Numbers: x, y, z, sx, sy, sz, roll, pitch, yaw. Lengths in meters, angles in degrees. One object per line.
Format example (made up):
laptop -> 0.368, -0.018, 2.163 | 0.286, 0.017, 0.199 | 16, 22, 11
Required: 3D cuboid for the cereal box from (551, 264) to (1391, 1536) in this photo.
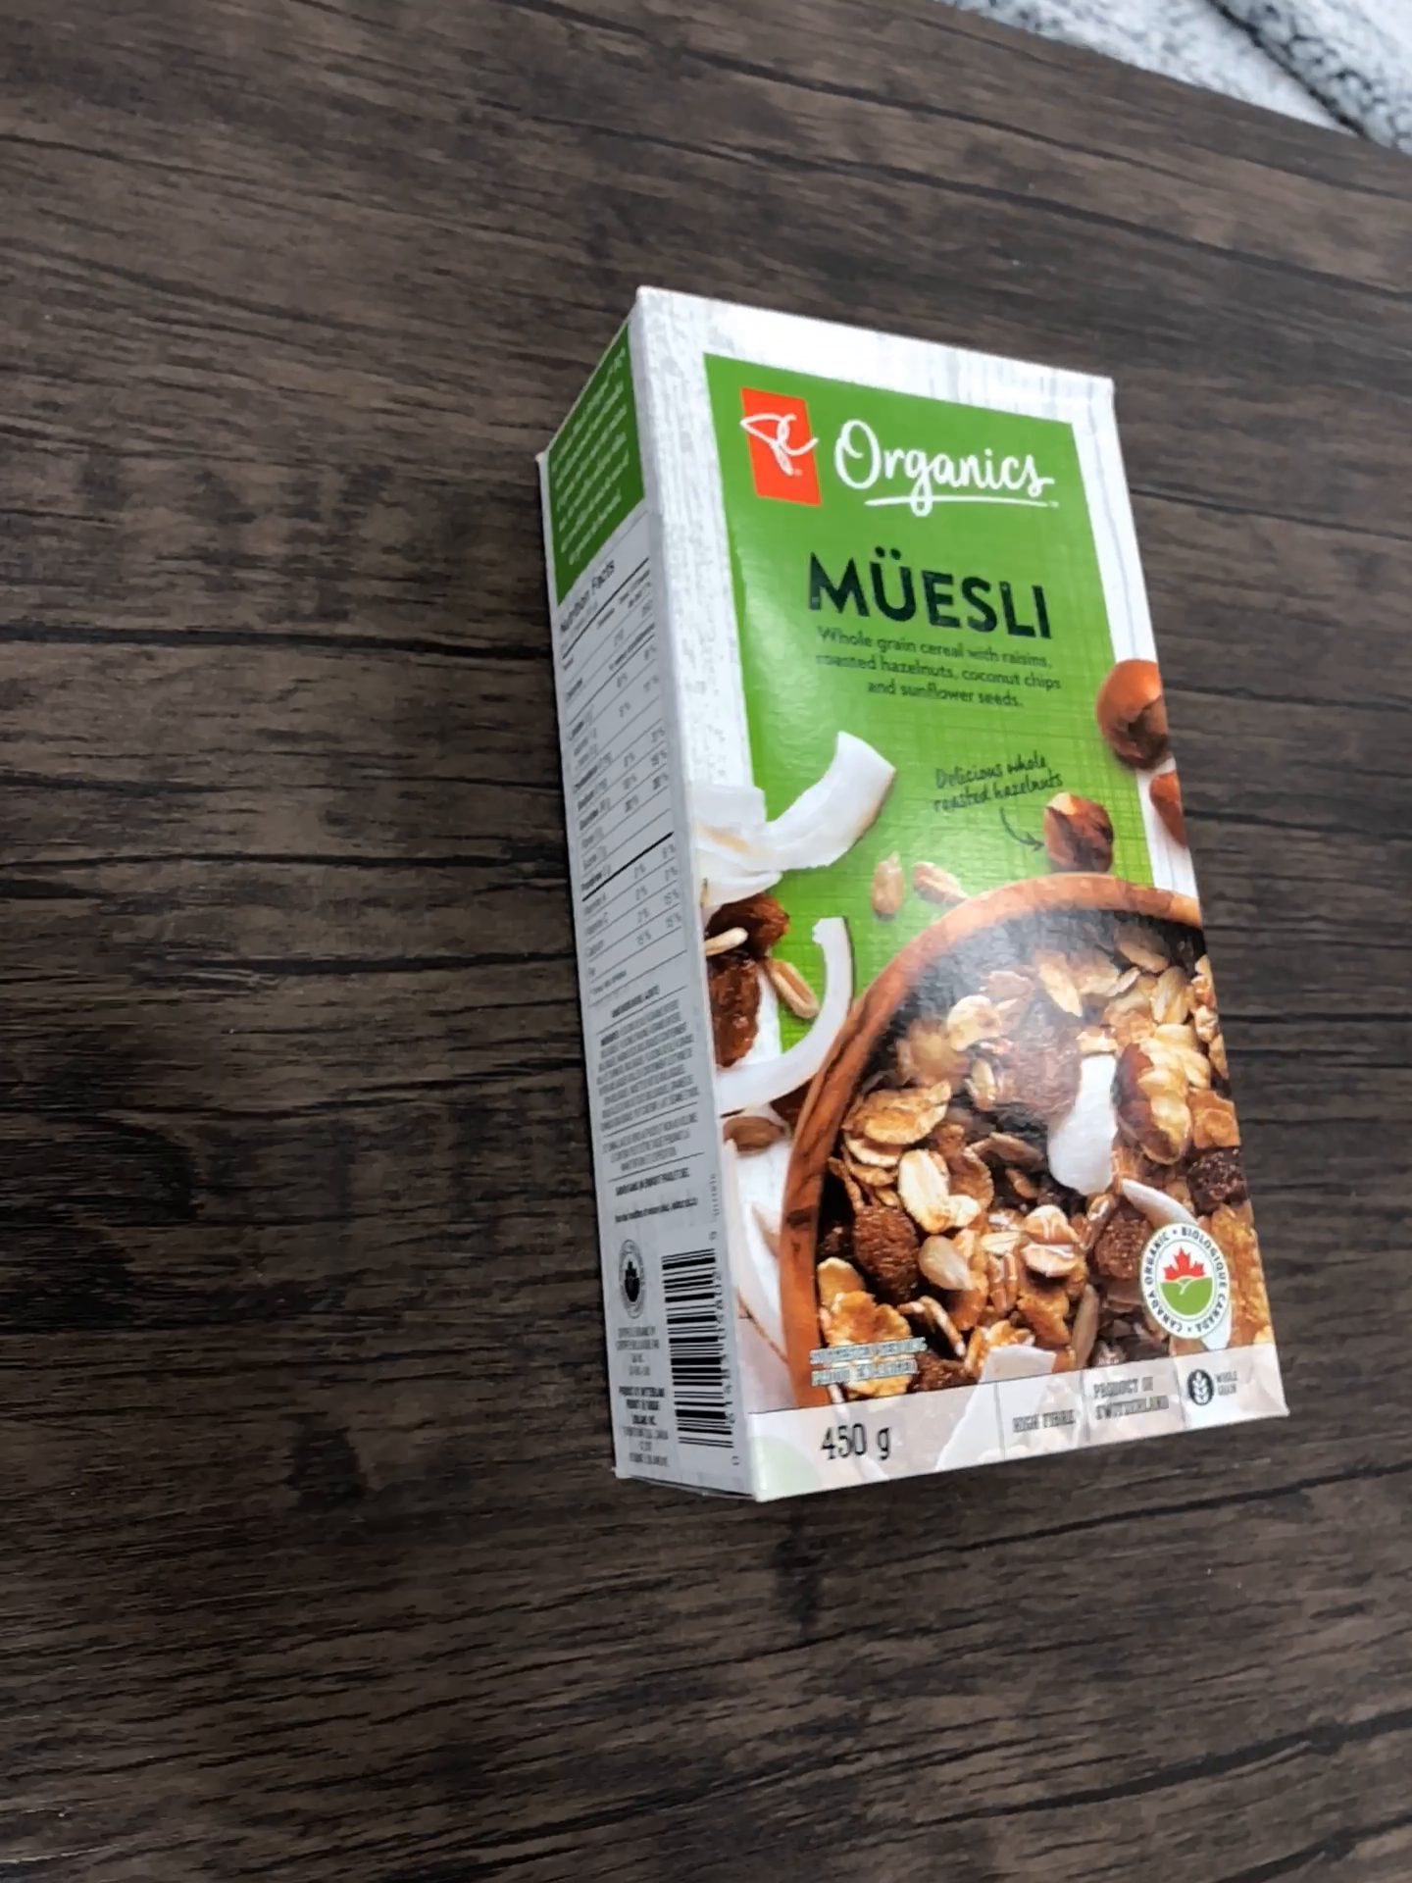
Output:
cereal box -> 0.049, -0.009, 0.336 | 0.130, 0.070, 0.230 | -1, 78, -25
